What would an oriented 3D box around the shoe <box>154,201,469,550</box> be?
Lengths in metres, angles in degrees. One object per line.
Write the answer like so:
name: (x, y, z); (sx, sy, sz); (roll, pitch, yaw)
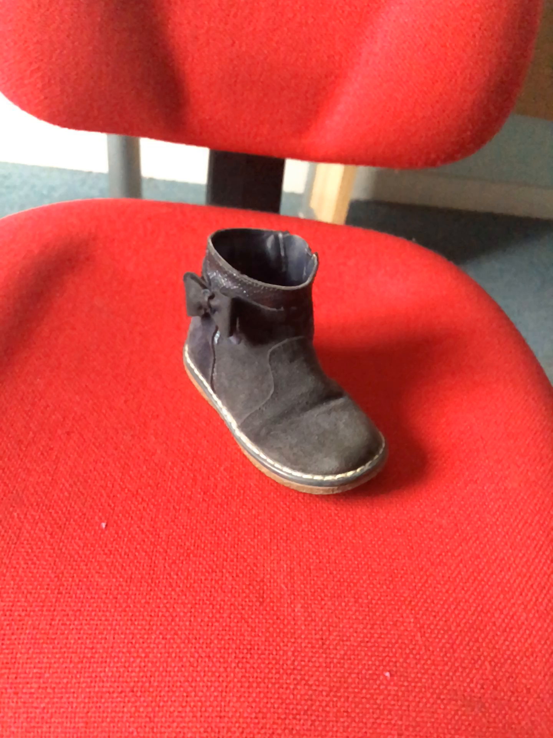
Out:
shoe: (0.007, -0.002, 0.340); (0.080, 0.099, 0.150); (-27, 57, -30)
